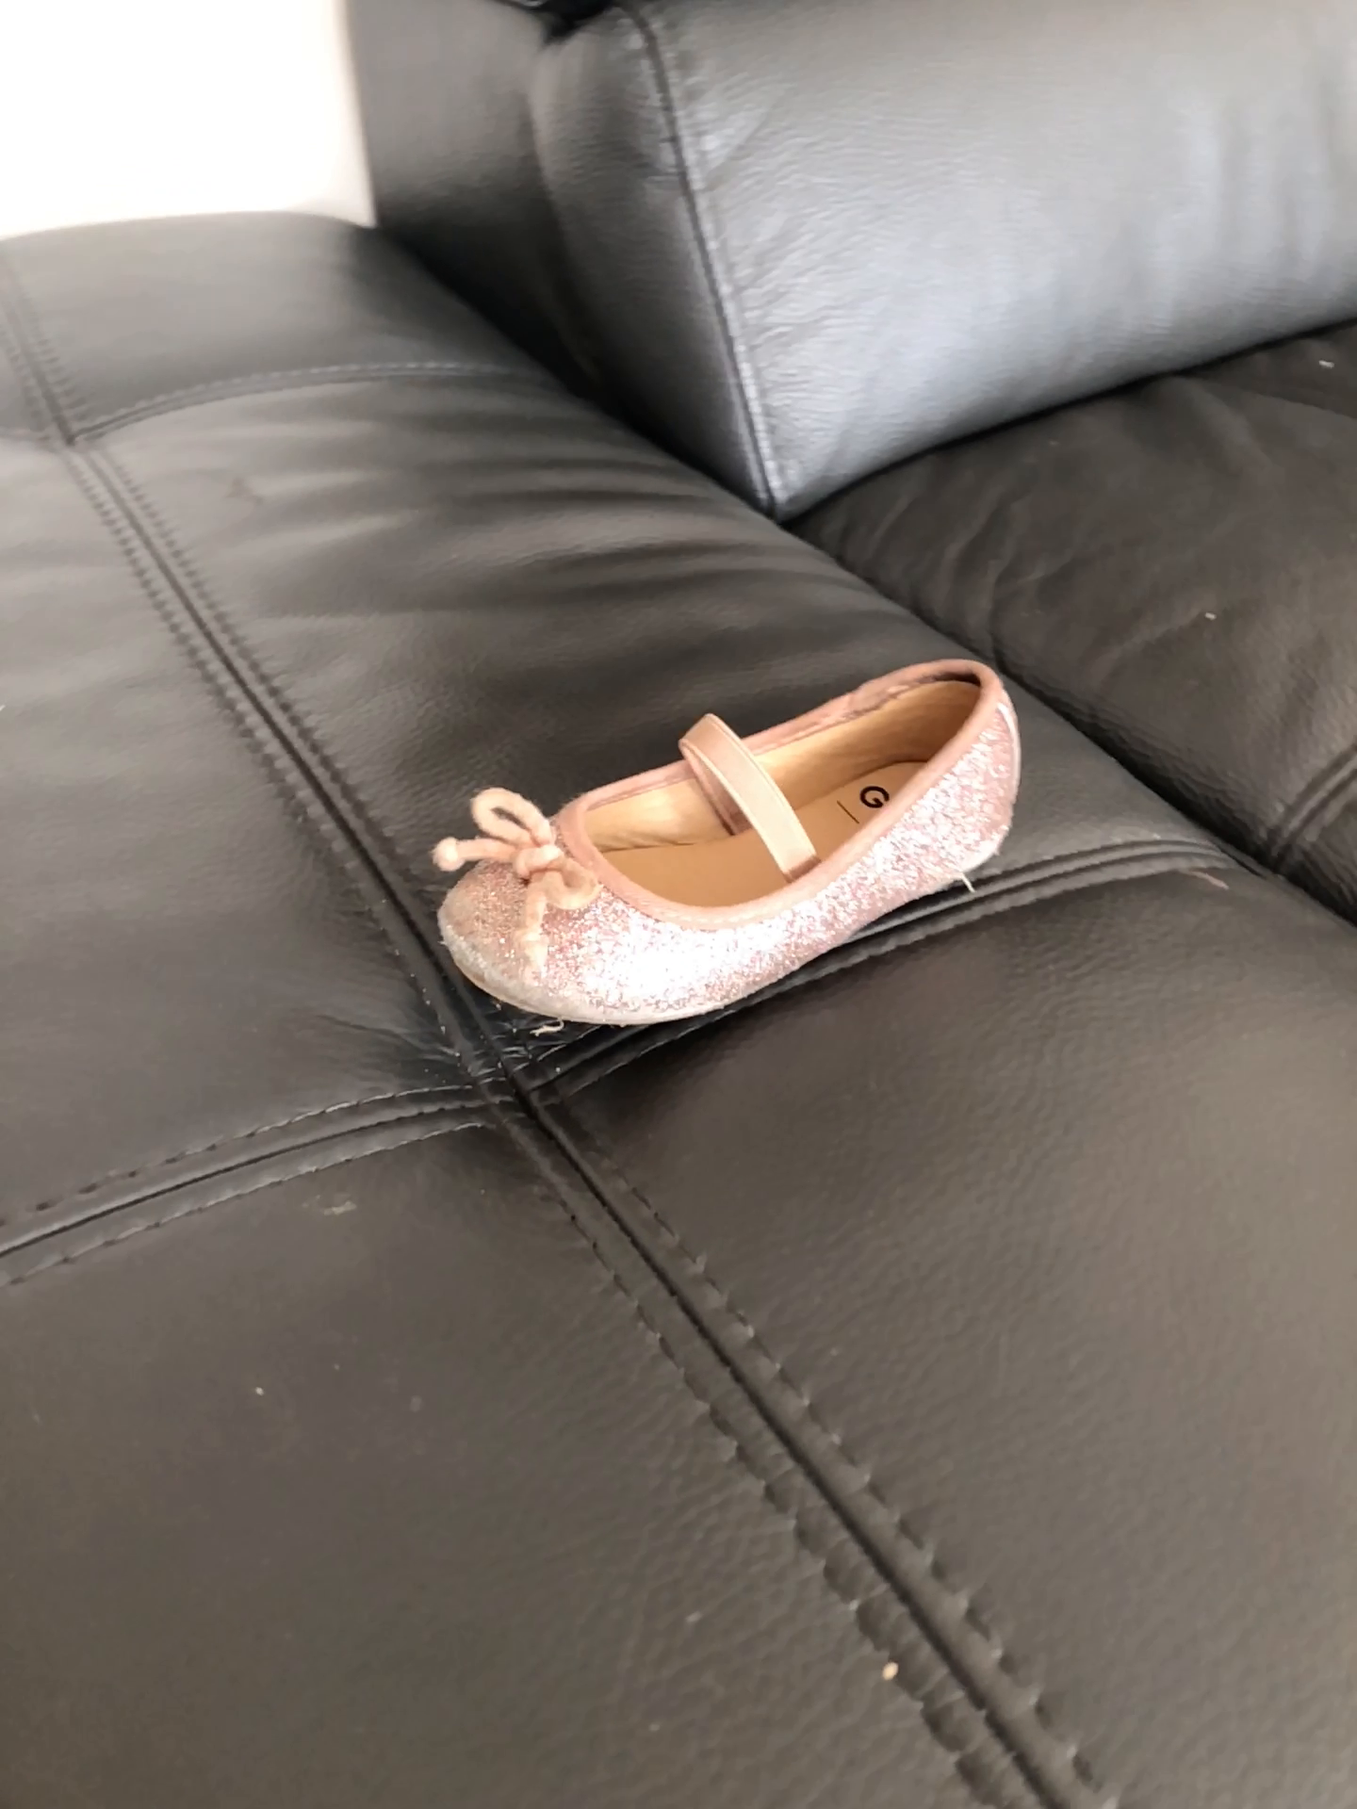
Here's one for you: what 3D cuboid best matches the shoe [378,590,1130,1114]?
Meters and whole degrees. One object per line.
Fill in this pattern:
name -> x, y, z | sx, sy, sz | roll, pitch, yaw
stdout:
shoe -> 0.020, -0.020, 0.354 | 0.161, 0.040, 0.070 | -23, 46, -24
